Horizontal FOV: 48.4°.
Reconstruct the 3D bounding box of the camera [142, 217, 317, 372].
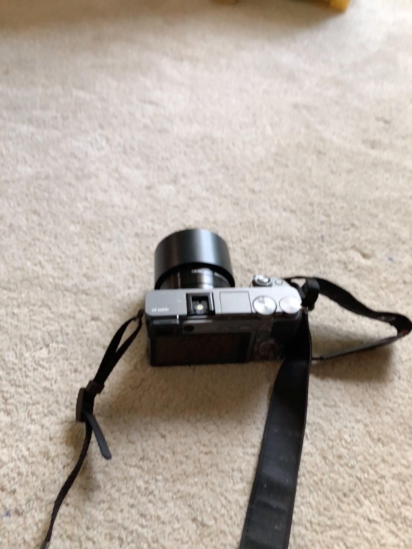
[{"bbox_3d":[0.010,0.014,0.370,0.120,0.070,0.101,-1,48,-7],"label":"camera"}]
